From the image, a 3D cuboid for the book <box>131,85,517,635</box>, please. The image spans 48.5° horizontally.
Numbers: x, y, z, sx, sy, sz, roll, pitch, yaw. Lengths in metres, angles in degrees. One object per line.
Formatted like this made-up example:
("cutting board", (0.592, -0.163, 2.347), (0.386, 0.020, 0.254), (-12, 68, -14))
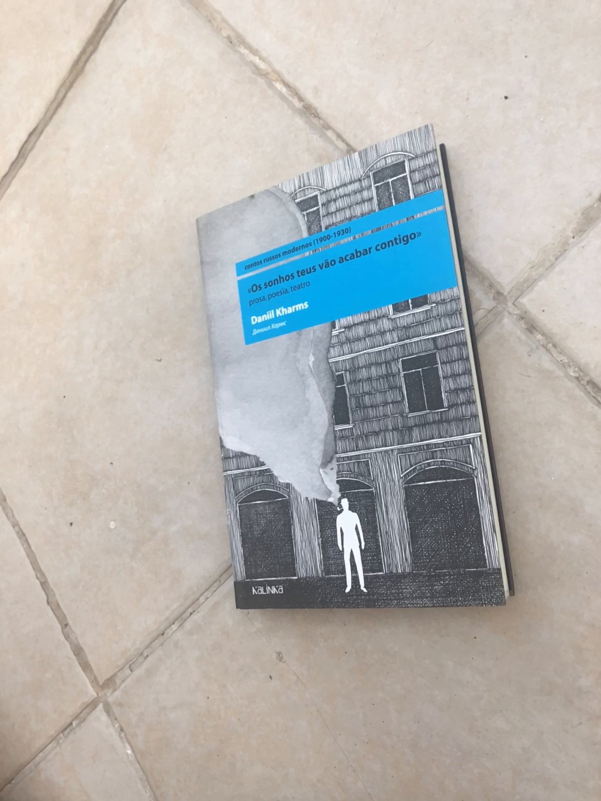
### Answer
("book", (0.001, -0.006, 0.248), (0.120, 0.040, 0.170), (-12, 80, 30))
